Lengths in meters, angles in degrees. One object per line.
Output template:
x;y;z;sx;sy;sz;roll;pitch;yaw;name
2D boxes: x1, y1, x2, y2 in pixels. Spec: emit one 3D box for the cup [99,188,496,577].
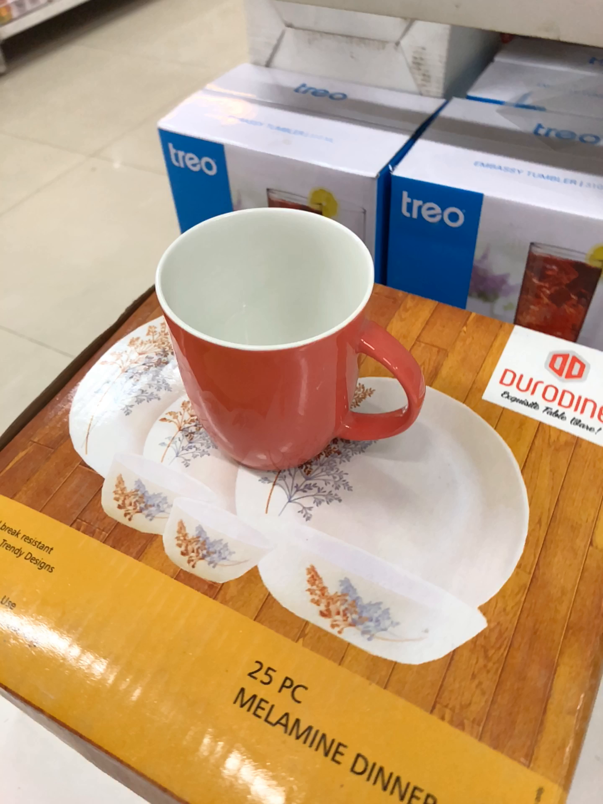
0.002;-0.012;0.288;0.120;0.099;0.091;22;52;23;cup
